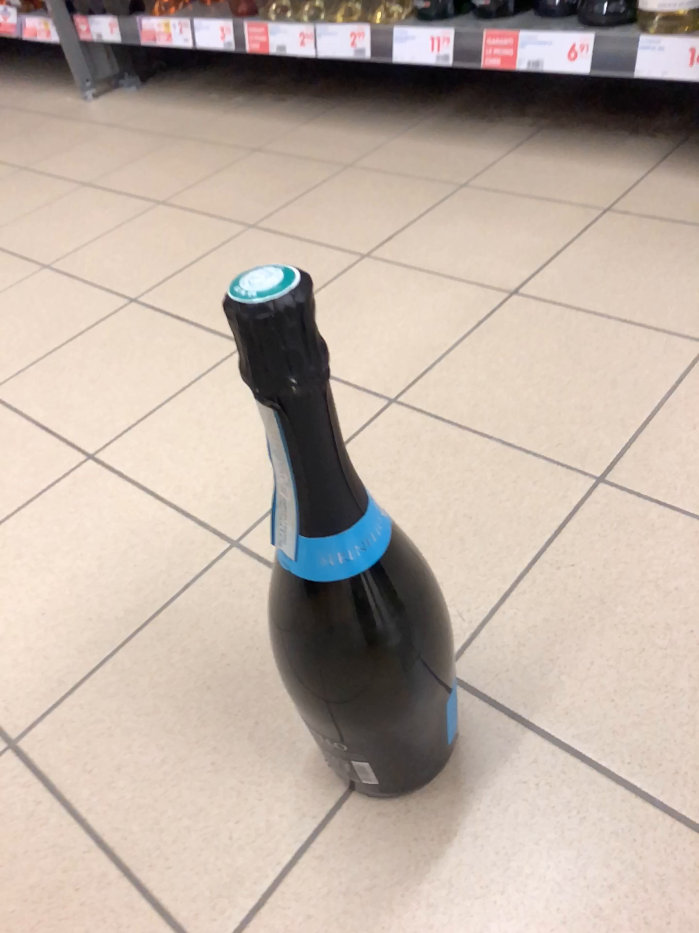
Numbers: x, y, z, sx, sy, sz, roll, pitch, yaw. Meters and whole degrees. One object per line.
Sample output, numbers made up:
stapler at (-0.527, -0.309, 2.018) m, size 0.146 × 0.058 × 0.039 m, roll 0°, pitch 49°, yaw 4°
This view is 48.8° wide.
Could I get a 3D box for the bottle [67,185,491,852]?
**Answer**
bottle at (-0.011, 0.045, 0.351) m, size 0.090 × 0.298 × 0.100 m, roll -29°, pitch 44°, yaw -17°
